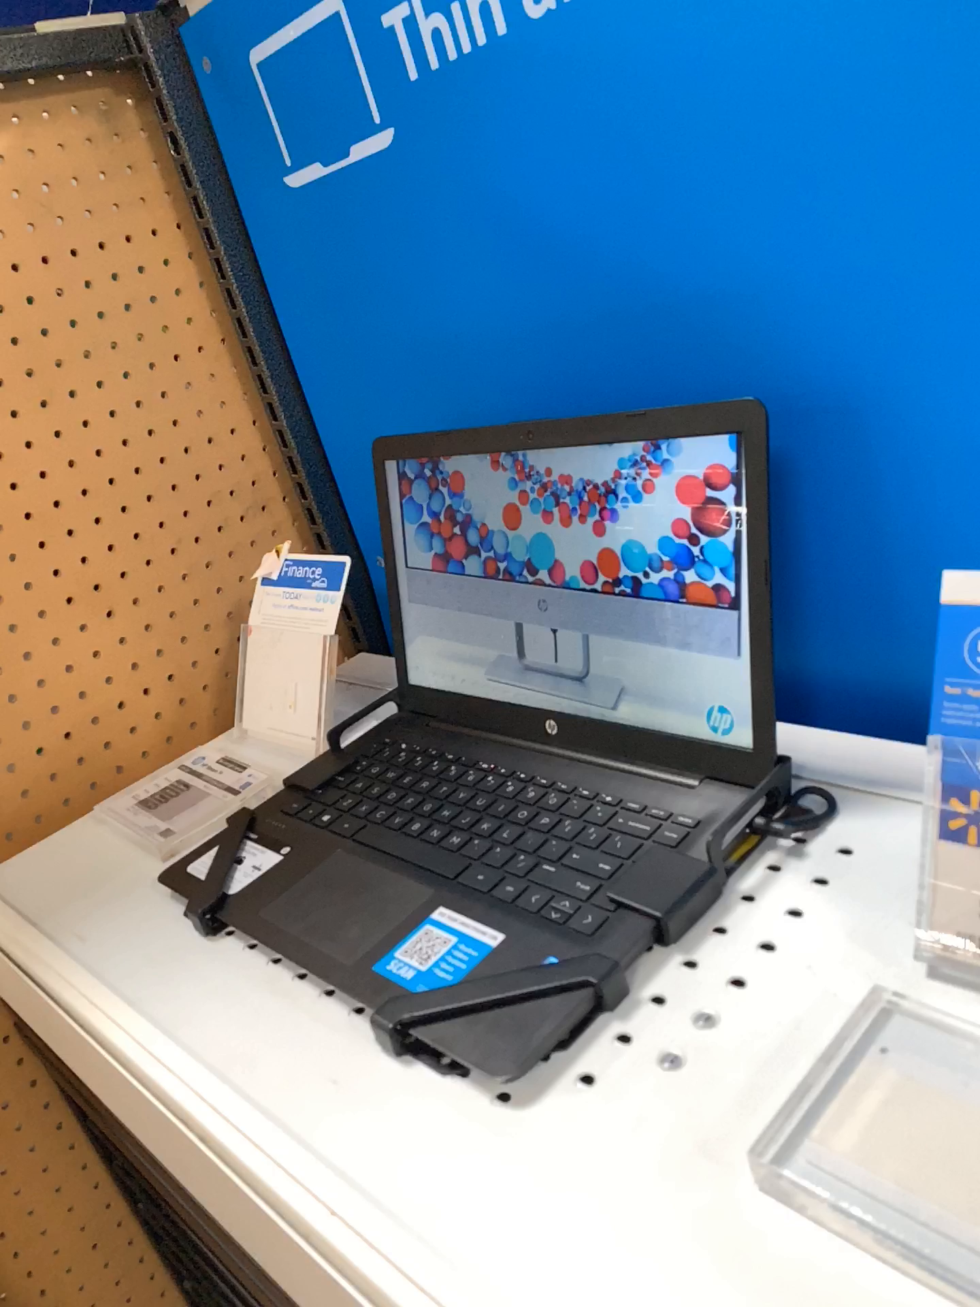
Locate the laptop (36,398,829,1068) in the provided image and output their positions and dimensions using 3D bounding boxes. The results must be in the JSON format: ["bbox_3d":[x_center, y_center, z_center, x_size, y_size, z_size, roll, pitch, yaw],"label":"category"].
[{"bbox_3d":[-0.035,0.007,0.580,0.269,0.203,0.327,-34,27,-35],"label":"laptop"}]
